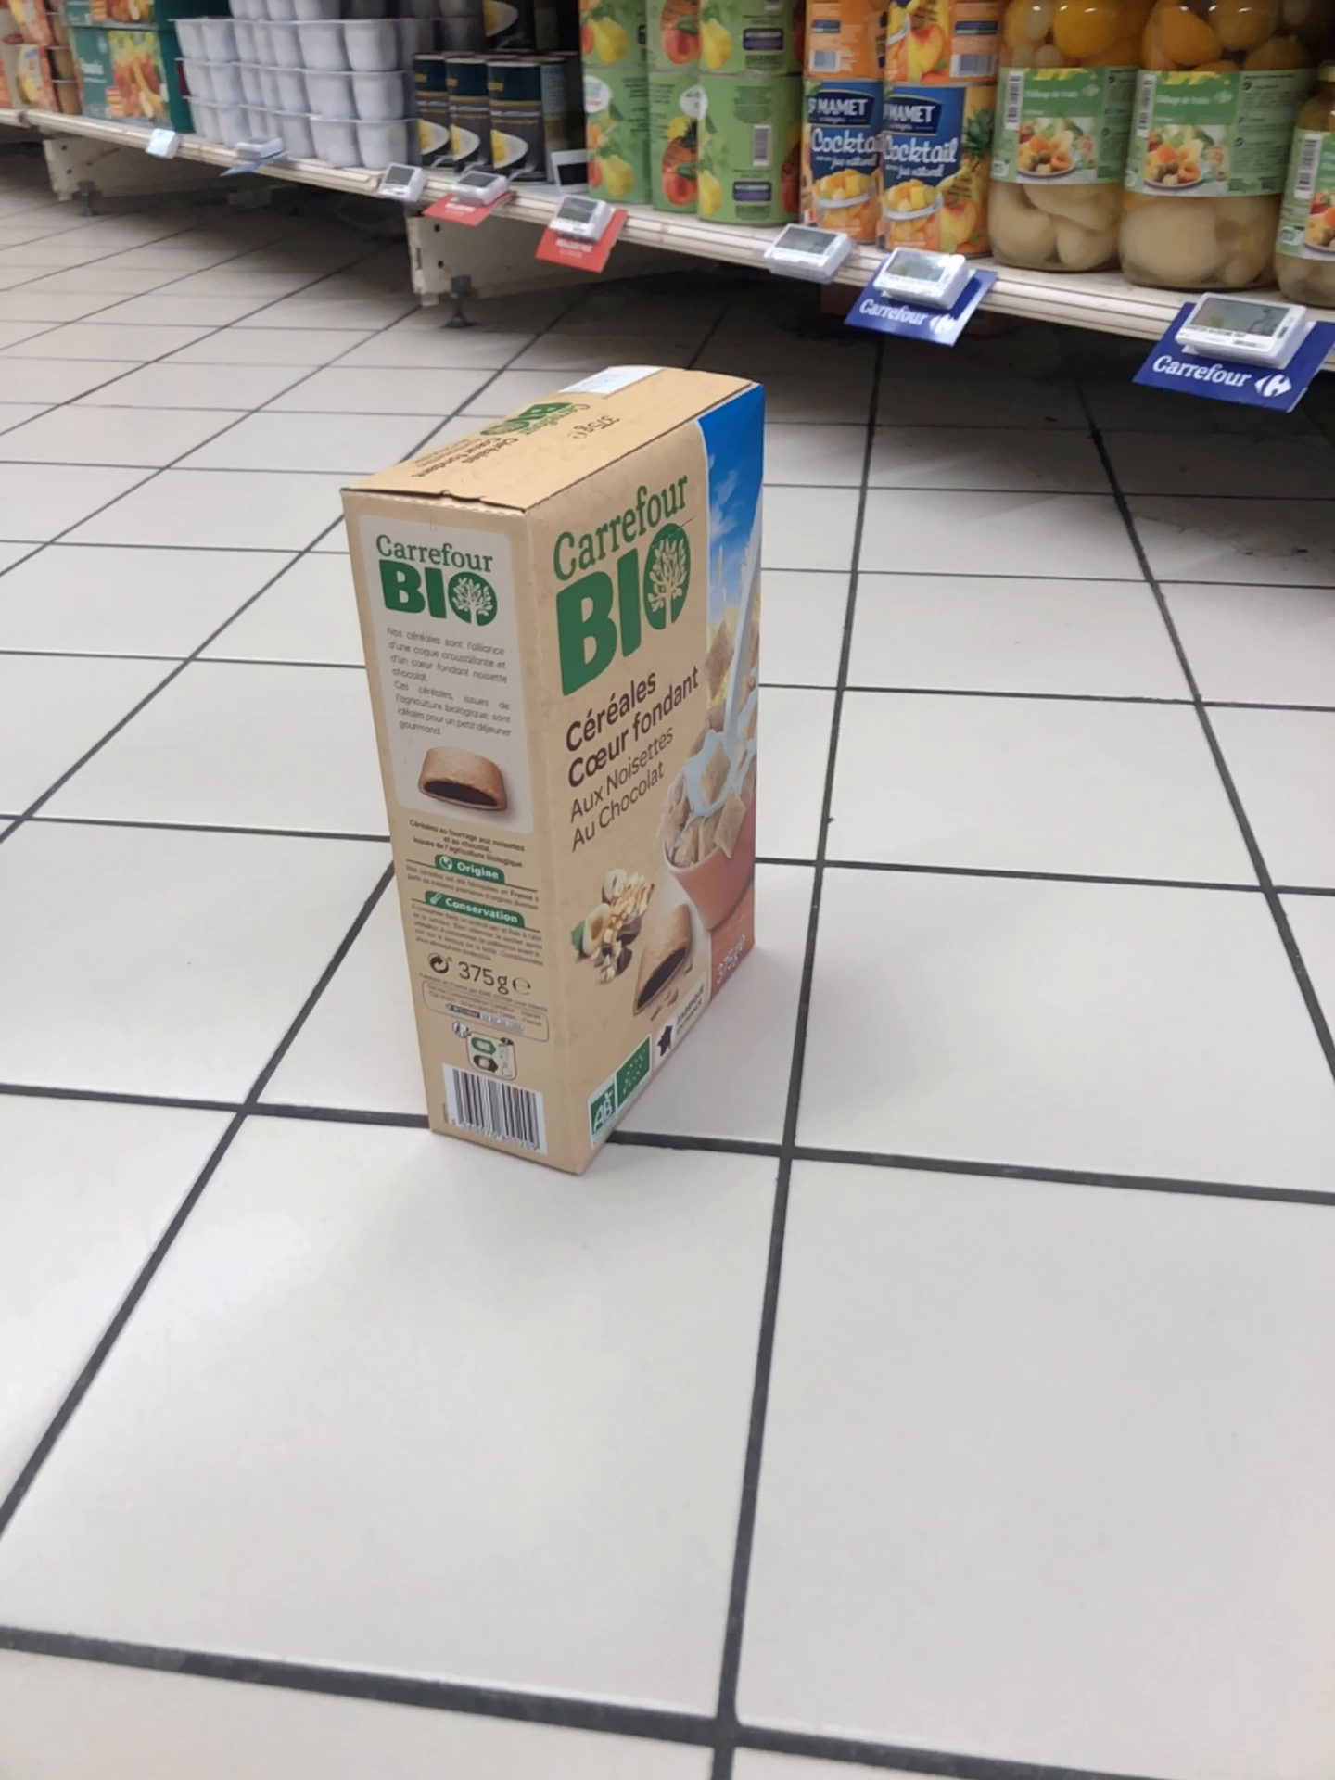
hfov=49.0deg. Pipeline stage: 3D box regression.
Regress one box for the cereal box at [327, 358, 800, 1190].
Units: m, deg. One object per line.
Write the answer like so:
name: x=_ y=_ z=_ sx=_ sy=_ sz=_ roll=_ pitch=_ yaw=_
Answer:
cereal box: x=-0.022 y=-0.046 z=0.508 sx=0.070 sy=0.229 sz=0.171 roll=13 pitch=34 yaw=23
